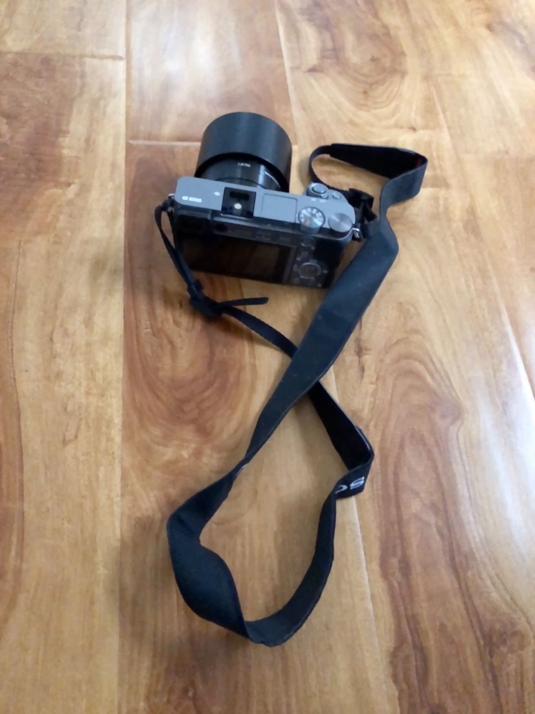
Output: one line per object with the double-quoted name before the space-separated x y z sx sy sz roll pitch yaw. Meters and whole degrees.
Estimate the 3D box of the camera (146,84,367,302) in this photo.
"camera" -0.006 -0.118 0.433 0.140 0.080 0.110 8 61 -4
